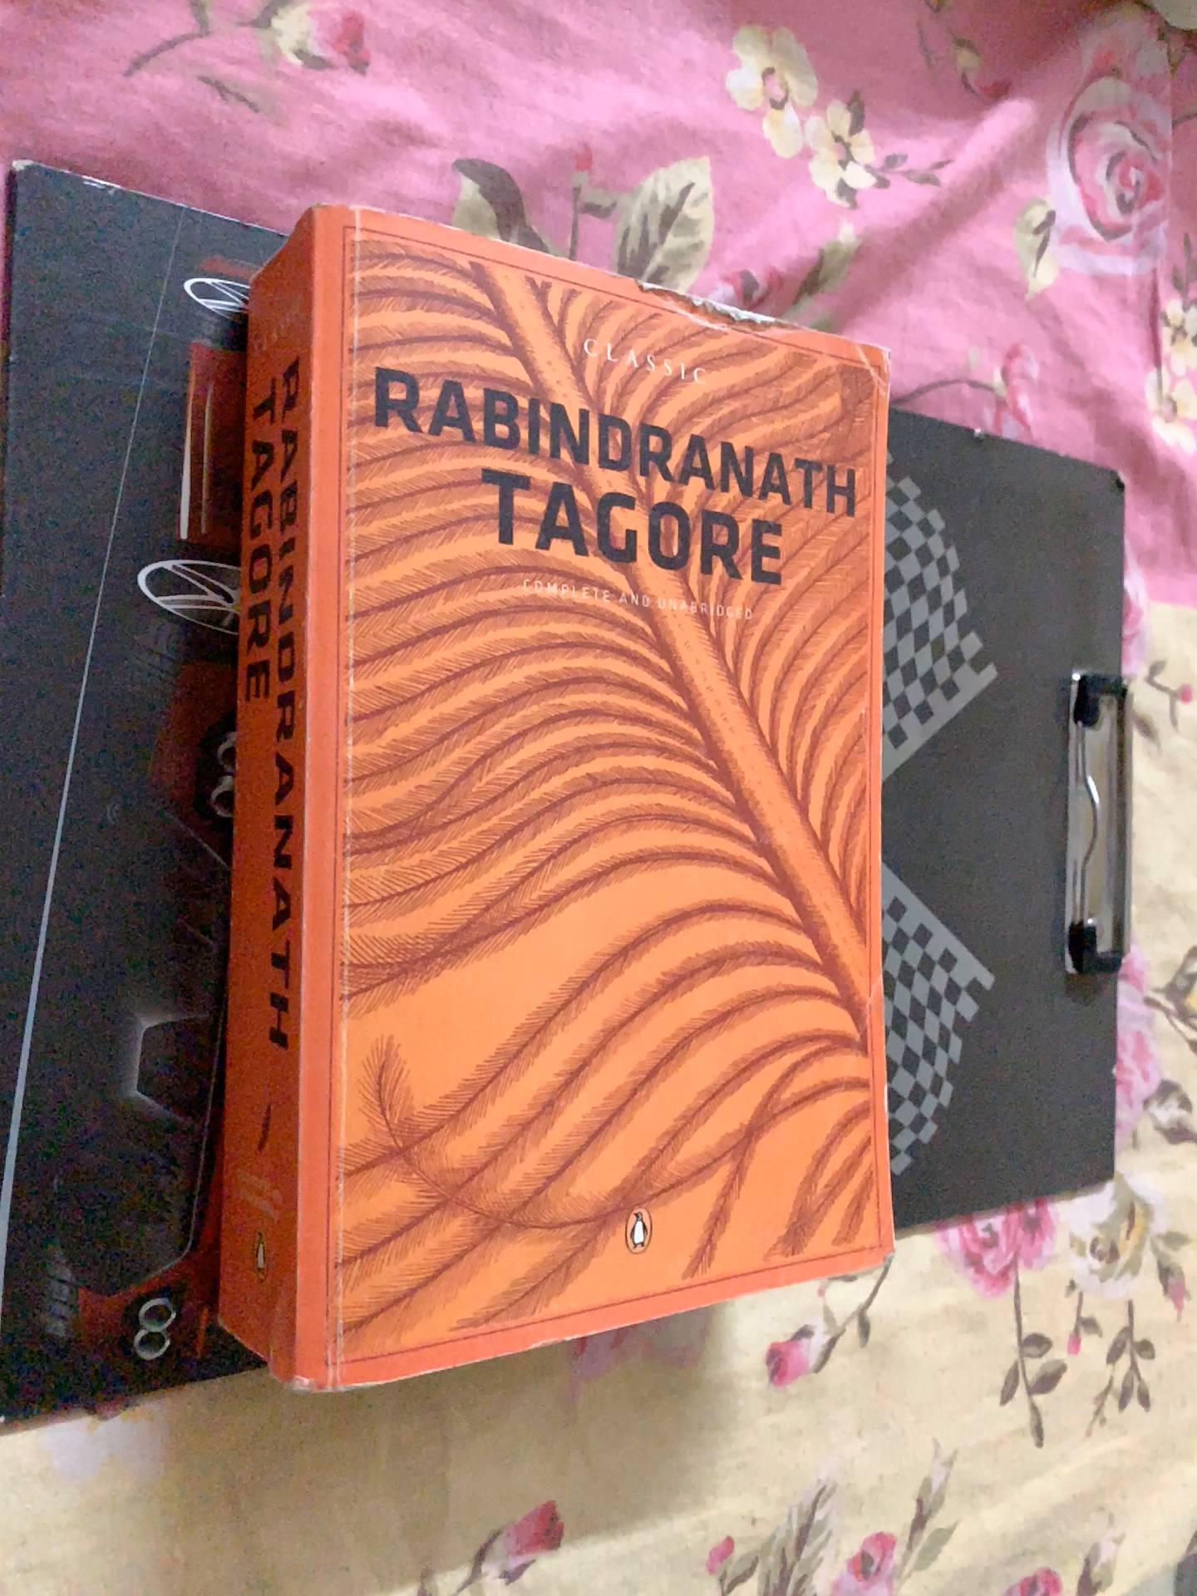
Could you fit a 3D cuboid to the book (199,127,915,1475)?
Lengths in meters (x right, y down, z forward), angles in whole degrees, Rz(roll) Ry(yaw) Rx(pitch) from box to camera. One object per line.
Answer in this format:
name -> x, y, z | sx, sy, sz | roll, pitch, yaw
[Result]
book -> -0.005, 0.001, 0.254 | 0.131, 0.060, 0.210 | 3, 86, -33
